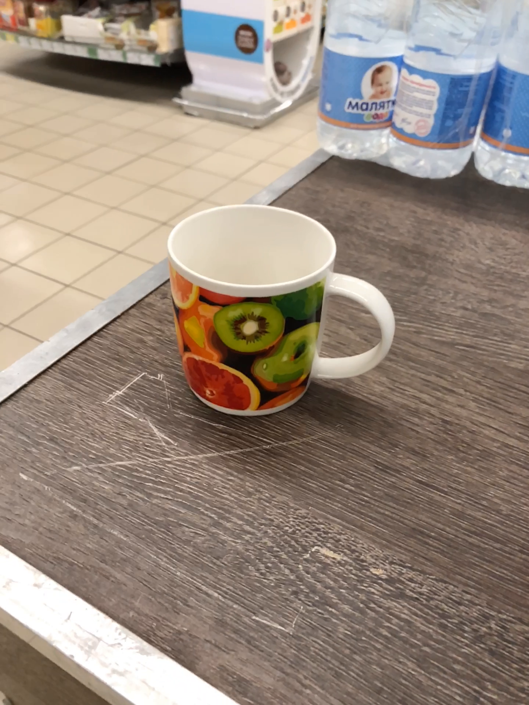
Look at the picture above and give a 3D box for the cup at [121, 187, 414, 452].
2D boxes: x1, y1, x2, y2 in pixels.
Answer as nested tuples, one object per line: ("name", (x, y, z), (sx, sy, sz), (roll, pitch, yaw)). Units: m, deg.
("cup", (0.005, -0.023, 0.324), (0.126, 0.085, 0.092), (13, 40, 14))
